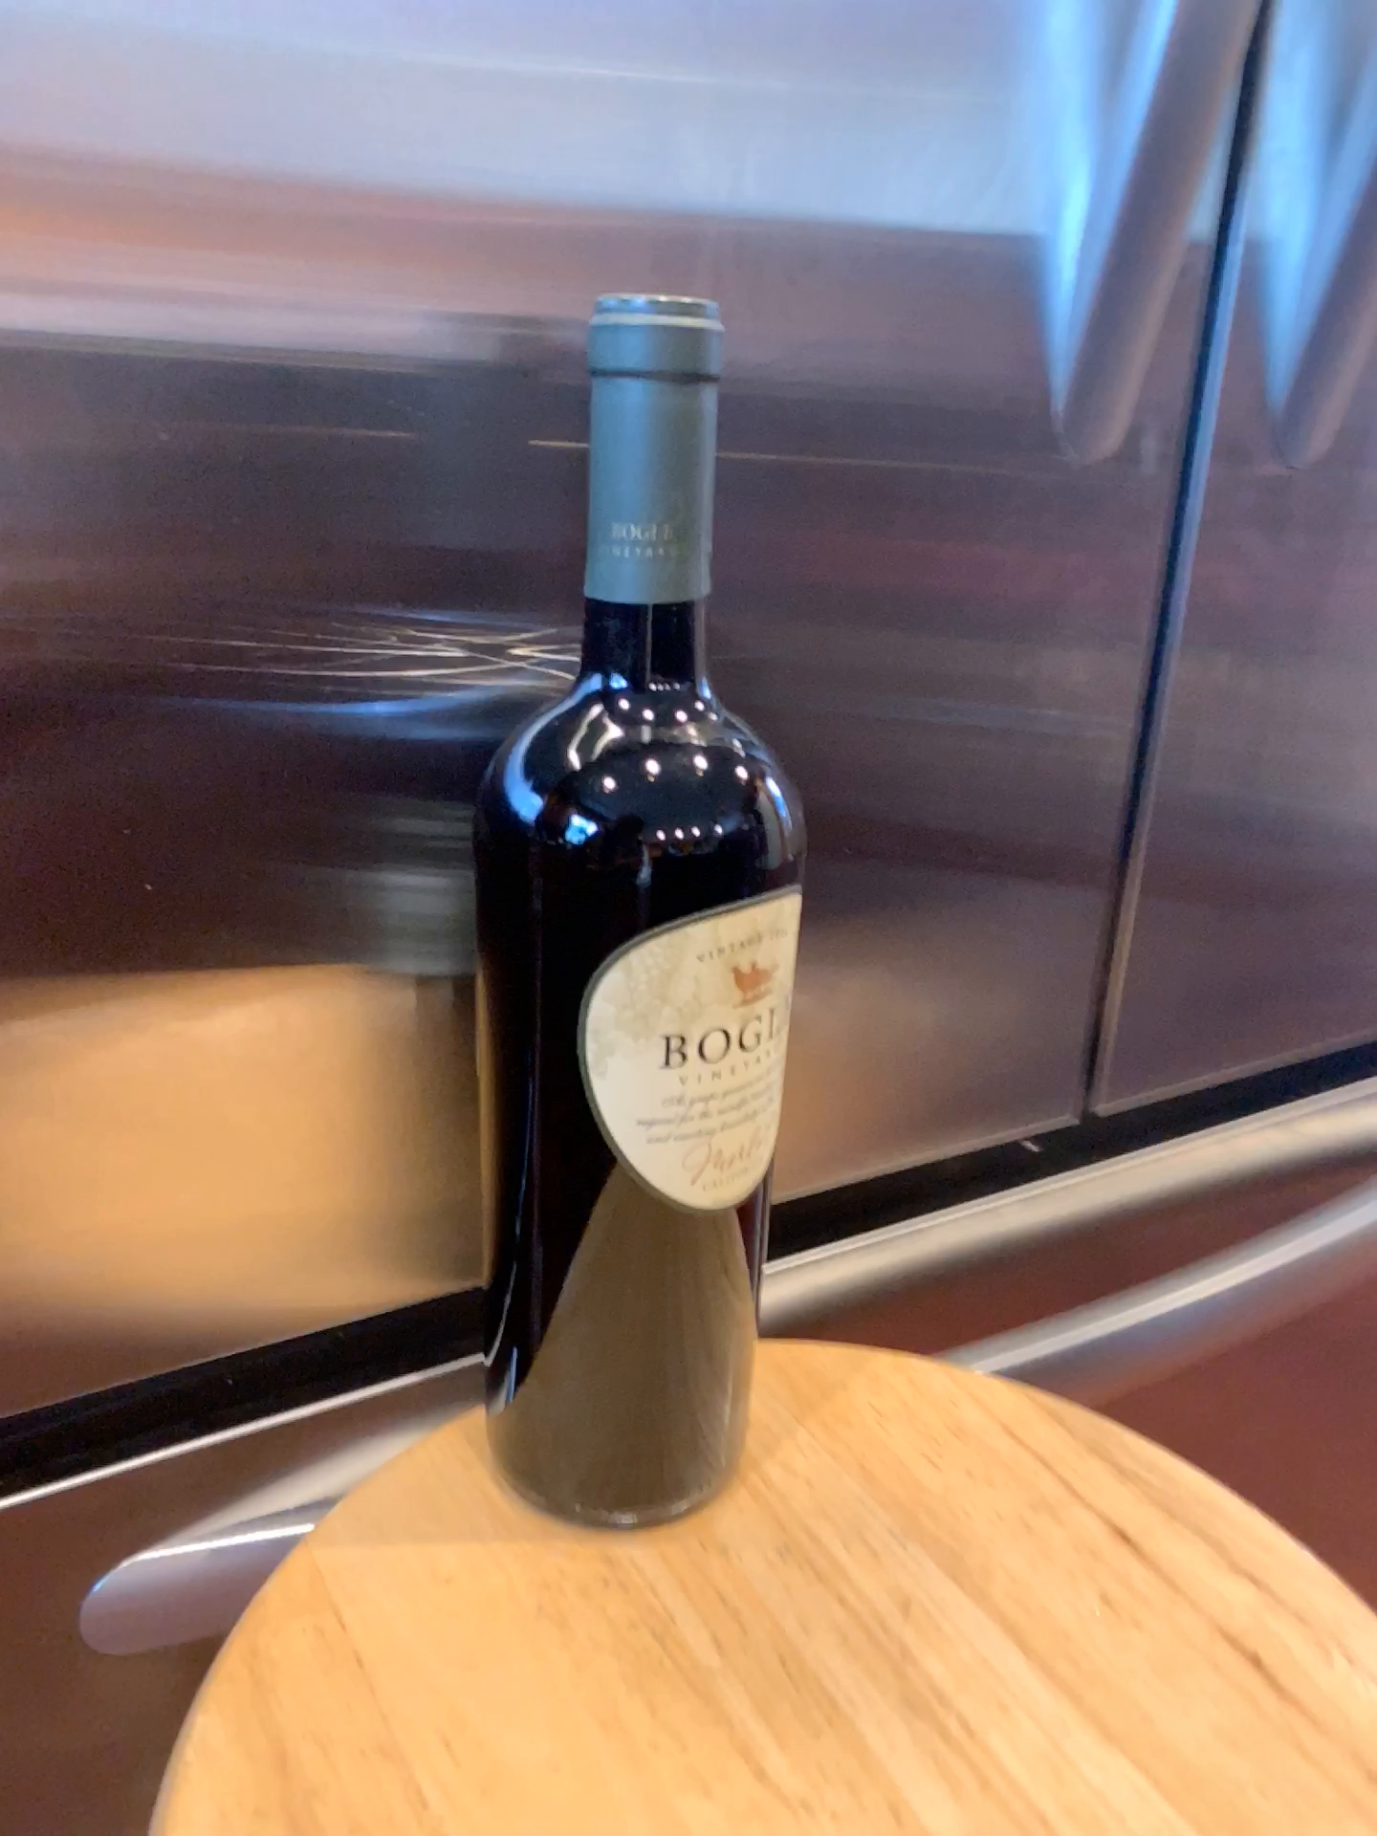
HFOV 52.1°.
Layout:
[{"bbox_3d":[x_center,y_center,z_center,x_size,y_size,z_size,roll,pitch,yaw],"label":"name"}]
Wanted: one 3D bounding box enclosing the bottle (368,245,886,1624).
[{"bbox_3d":[-0.021,0.010,0.358,0.080,0.319,0.080,3,19,-1],"label":"bottle"}]
